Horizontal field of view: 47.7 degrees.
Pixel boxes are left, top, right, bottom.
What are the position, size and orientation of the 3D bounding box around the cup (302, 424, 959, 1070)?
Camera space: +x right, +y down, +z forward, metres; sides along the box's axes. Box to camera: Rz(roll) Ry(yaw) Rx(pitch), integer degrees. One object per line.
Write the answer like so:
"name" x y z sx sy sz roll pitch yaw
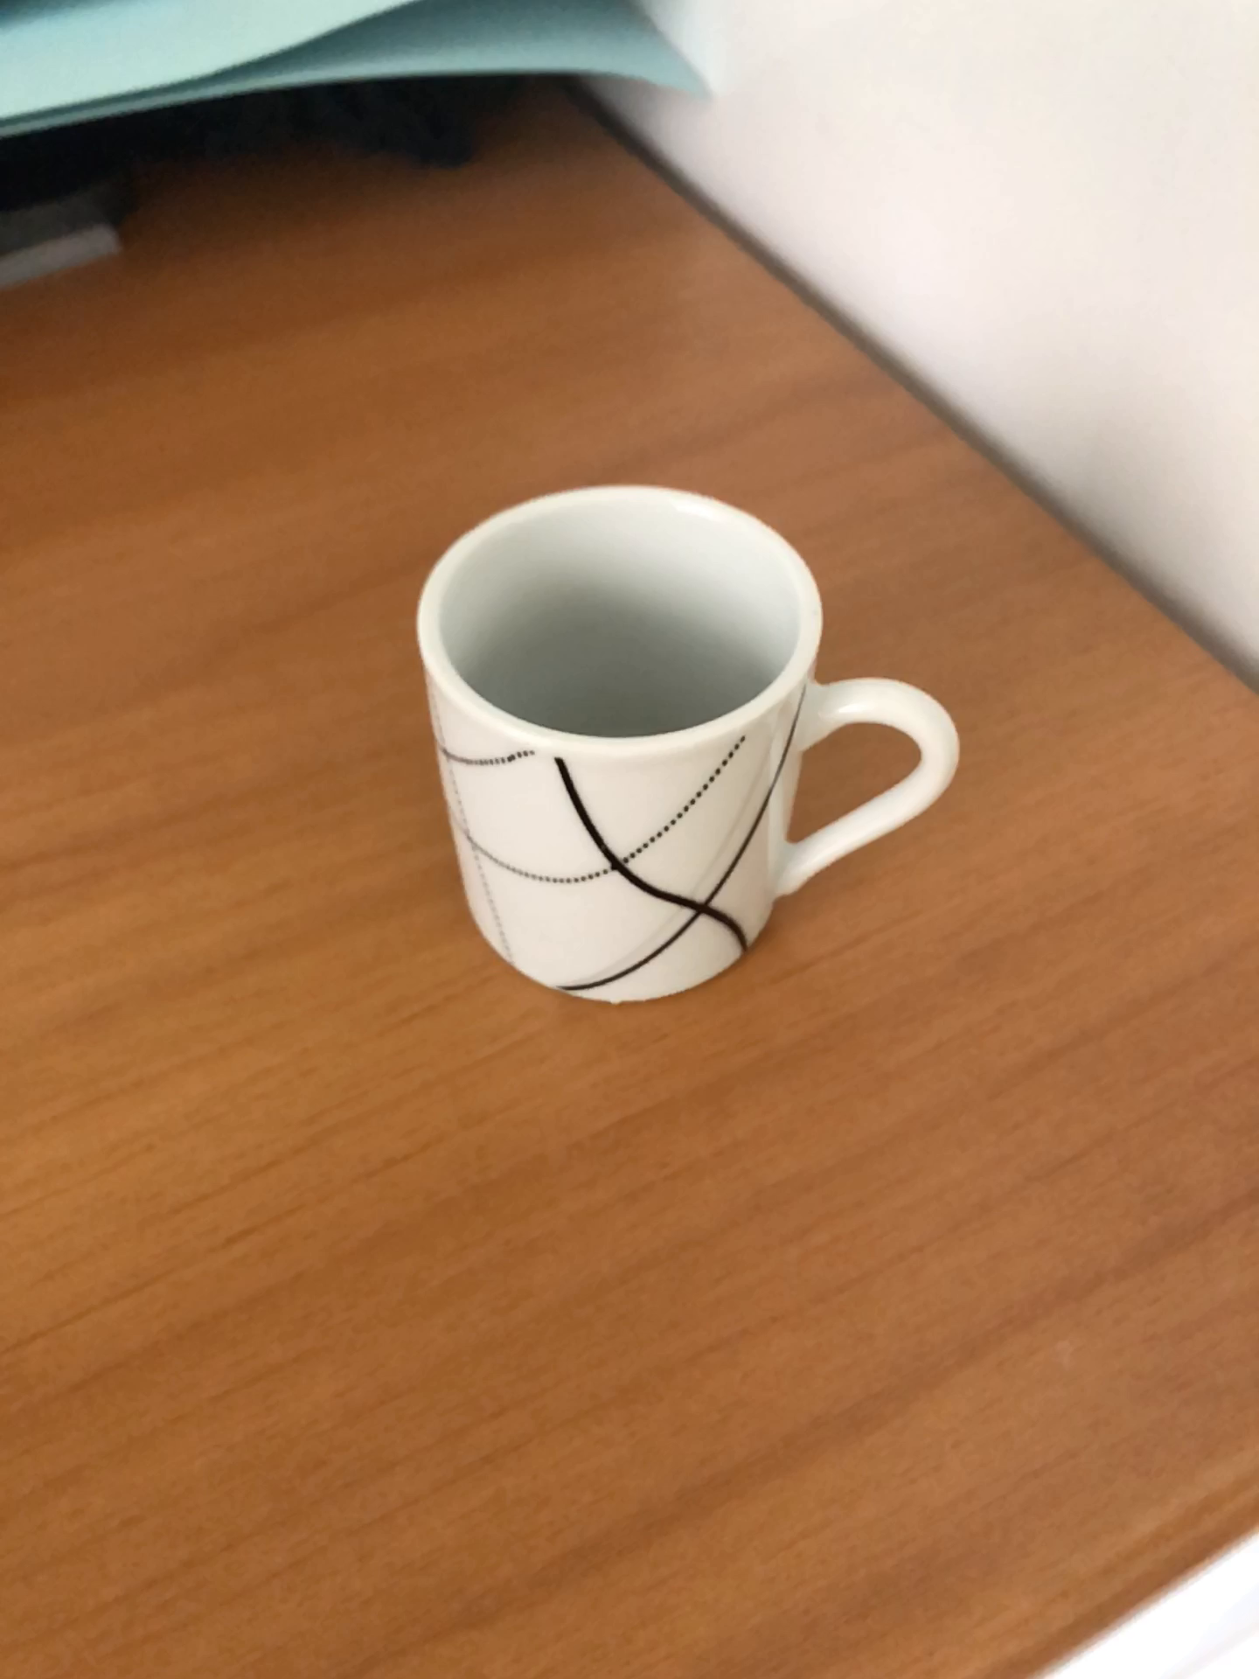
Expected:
"cup" 0.003 -0.014 0.193 0.070 0.050 0.060 9 50 7
